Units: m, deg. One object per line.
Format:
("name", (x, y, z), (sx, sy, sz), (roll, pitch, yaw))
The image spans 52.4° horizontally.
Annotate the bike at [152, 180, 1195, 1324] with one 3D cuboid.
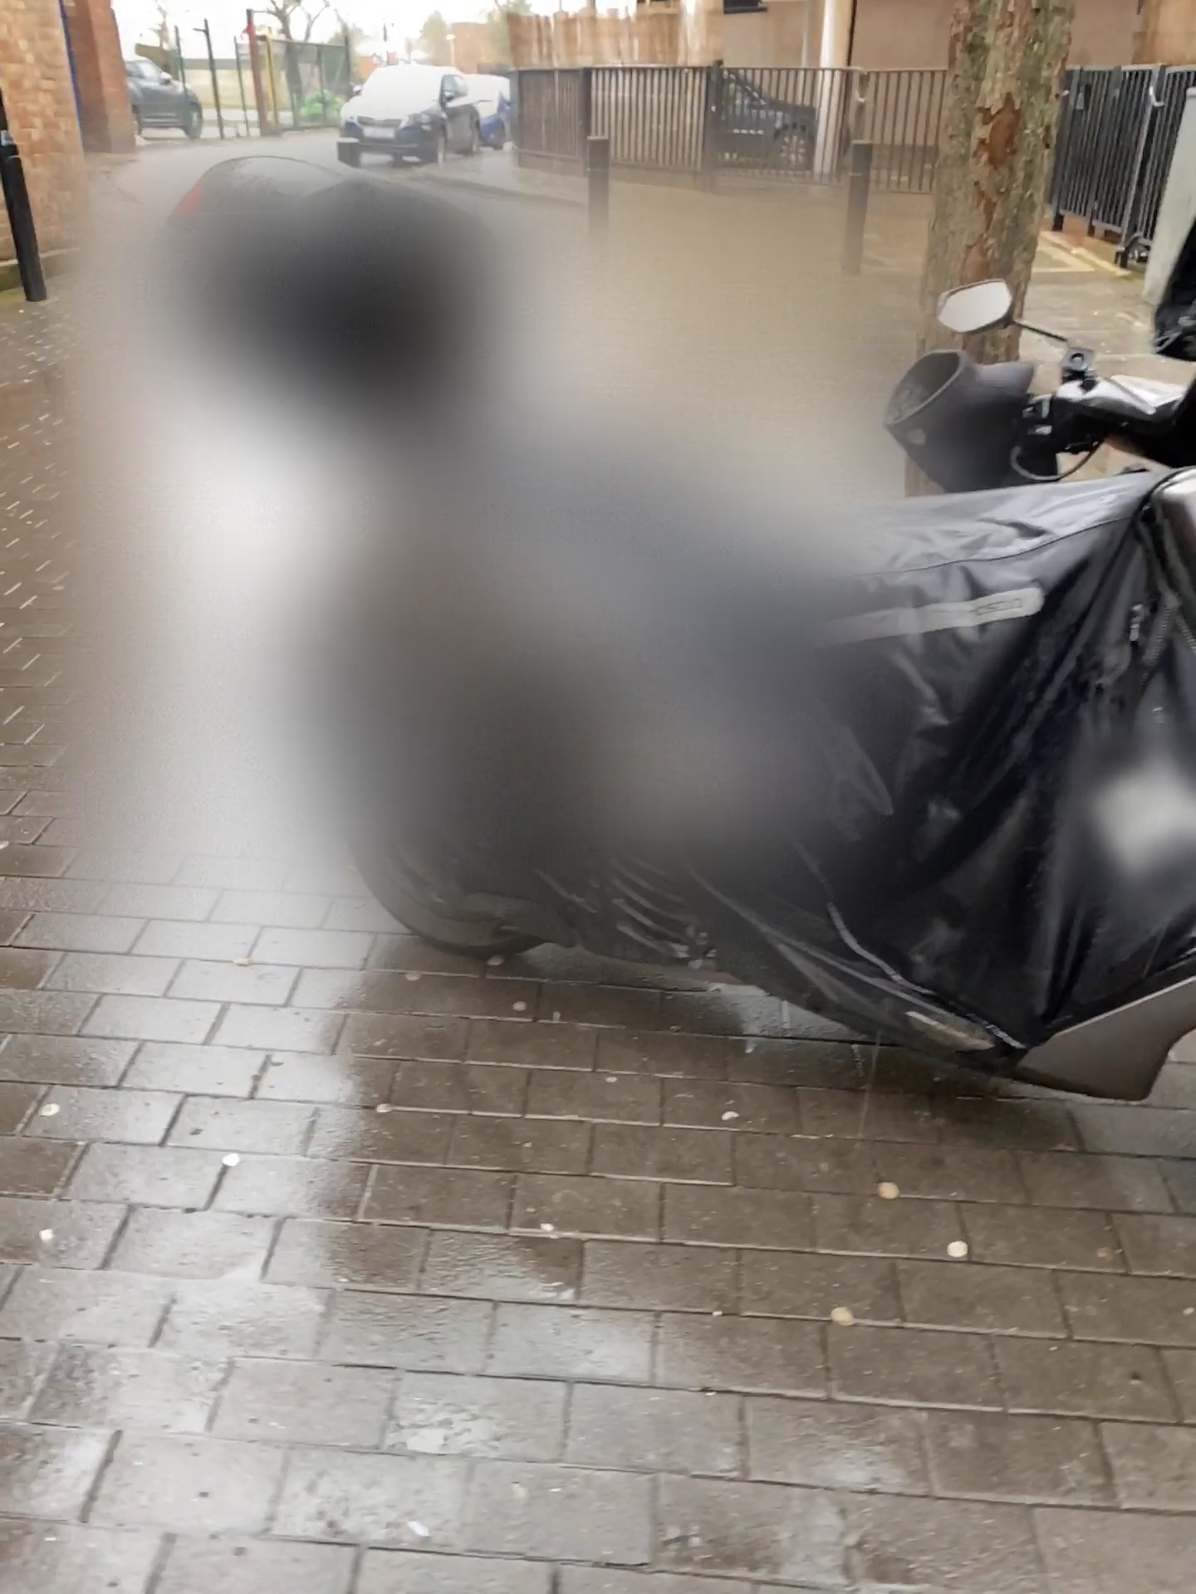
("bike", (0.449, -0.186, 1.741), (1.731, 1.121, 0.763), (11, 31, 16))
